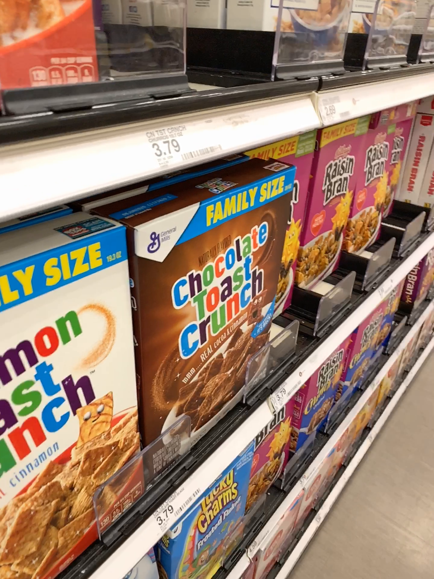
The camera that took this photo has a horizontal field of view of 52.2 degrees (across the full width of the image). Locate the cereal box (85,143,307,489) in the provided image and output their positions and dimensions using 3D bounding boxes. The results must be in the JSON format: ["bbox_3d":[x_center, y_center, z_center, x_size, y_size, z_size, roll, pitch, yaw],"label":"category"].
[{"bbox_3d":[-0.010,0.023,0.486,0.060,0.308,0.241,24,38,31],"label":"cereal box"}]
